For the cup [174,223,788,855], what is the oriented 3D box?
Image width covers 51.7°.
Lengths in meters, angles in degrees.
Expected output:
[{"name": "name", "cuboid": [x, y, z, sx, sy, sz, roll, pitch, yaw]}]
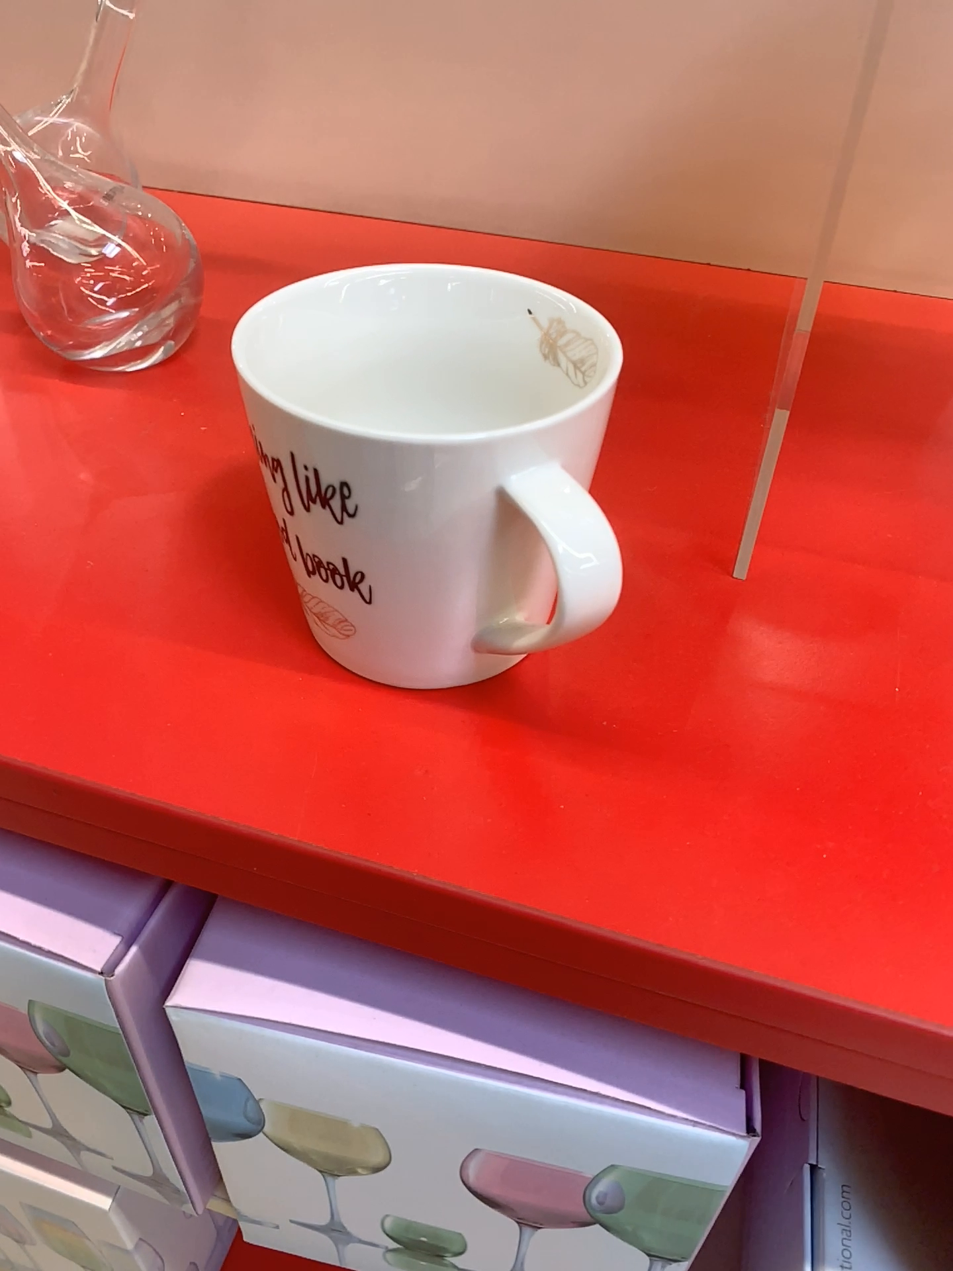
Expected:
[{"name": "cup", "cuboid": [-0.008, -0.035, 0.255, 0.090, 0.090, 0.131, -18, 45, -22]}]
